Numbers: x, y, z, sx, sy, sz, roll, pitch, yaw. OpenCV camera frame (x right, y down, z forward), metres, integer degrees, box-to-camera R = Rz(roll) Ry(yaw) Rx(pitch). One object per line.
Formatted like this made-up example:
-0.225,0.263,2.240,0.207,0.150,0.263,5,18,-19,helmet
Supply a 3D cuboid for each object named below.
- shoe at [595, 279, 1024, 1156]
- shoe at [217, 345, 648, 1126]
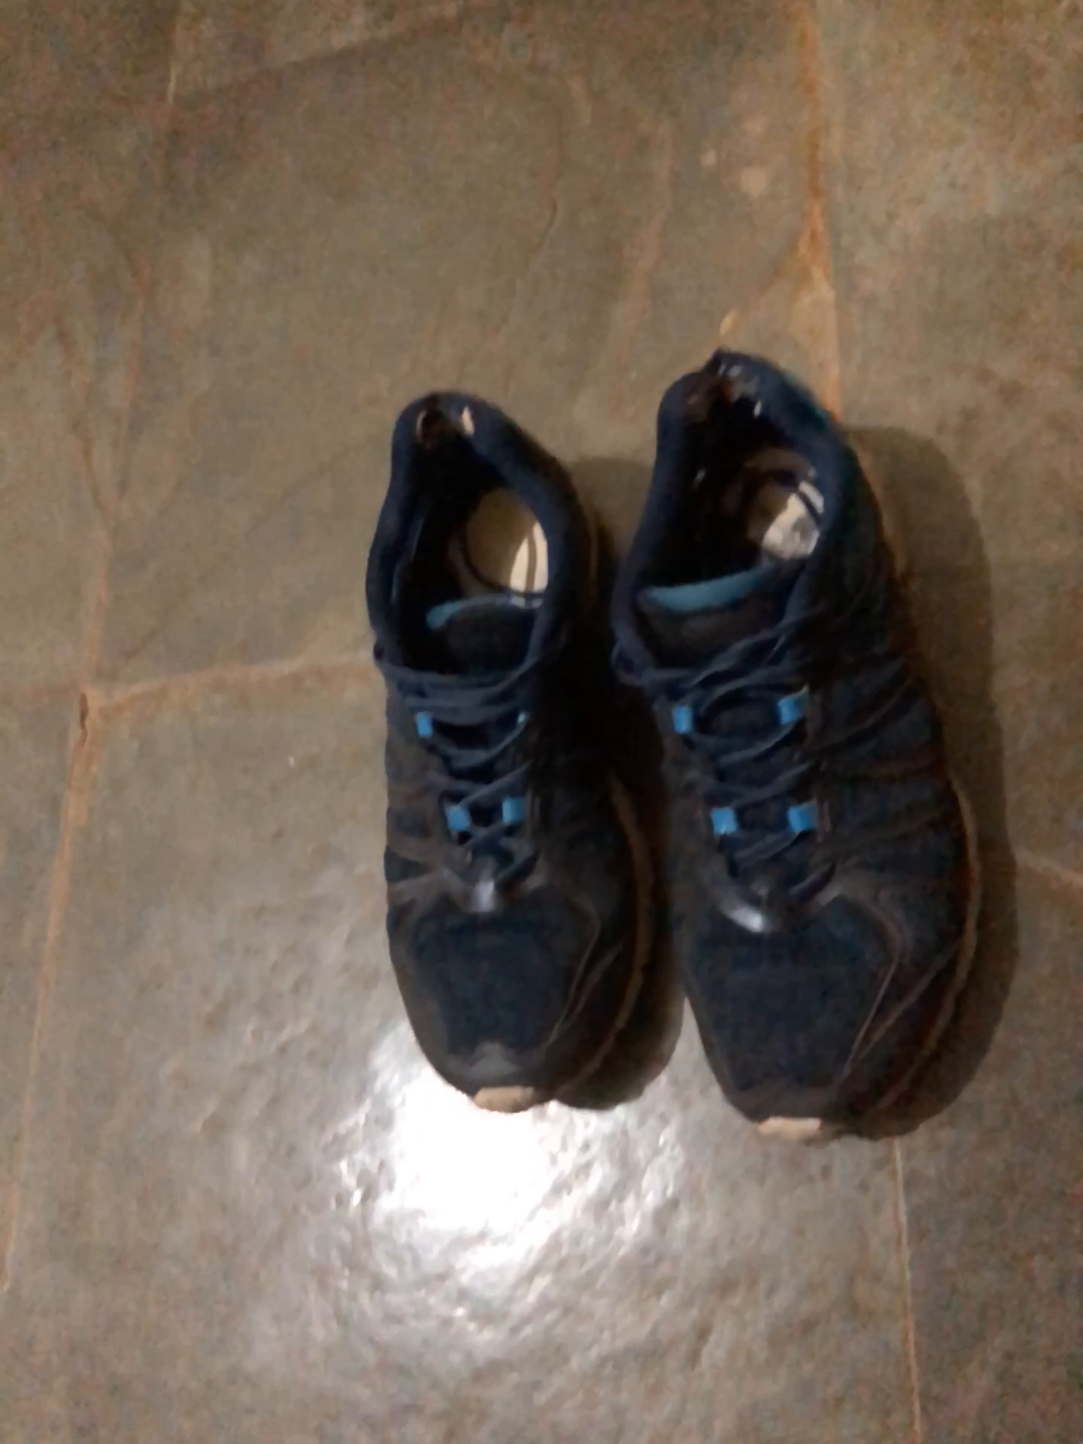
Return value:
0.094,0.004,0.431,0.120,0.110,0.281,-6,71,19,shoe
-0.036,0.012,0.477,0.120,0.110,0.281,-7,70,19,shoe
